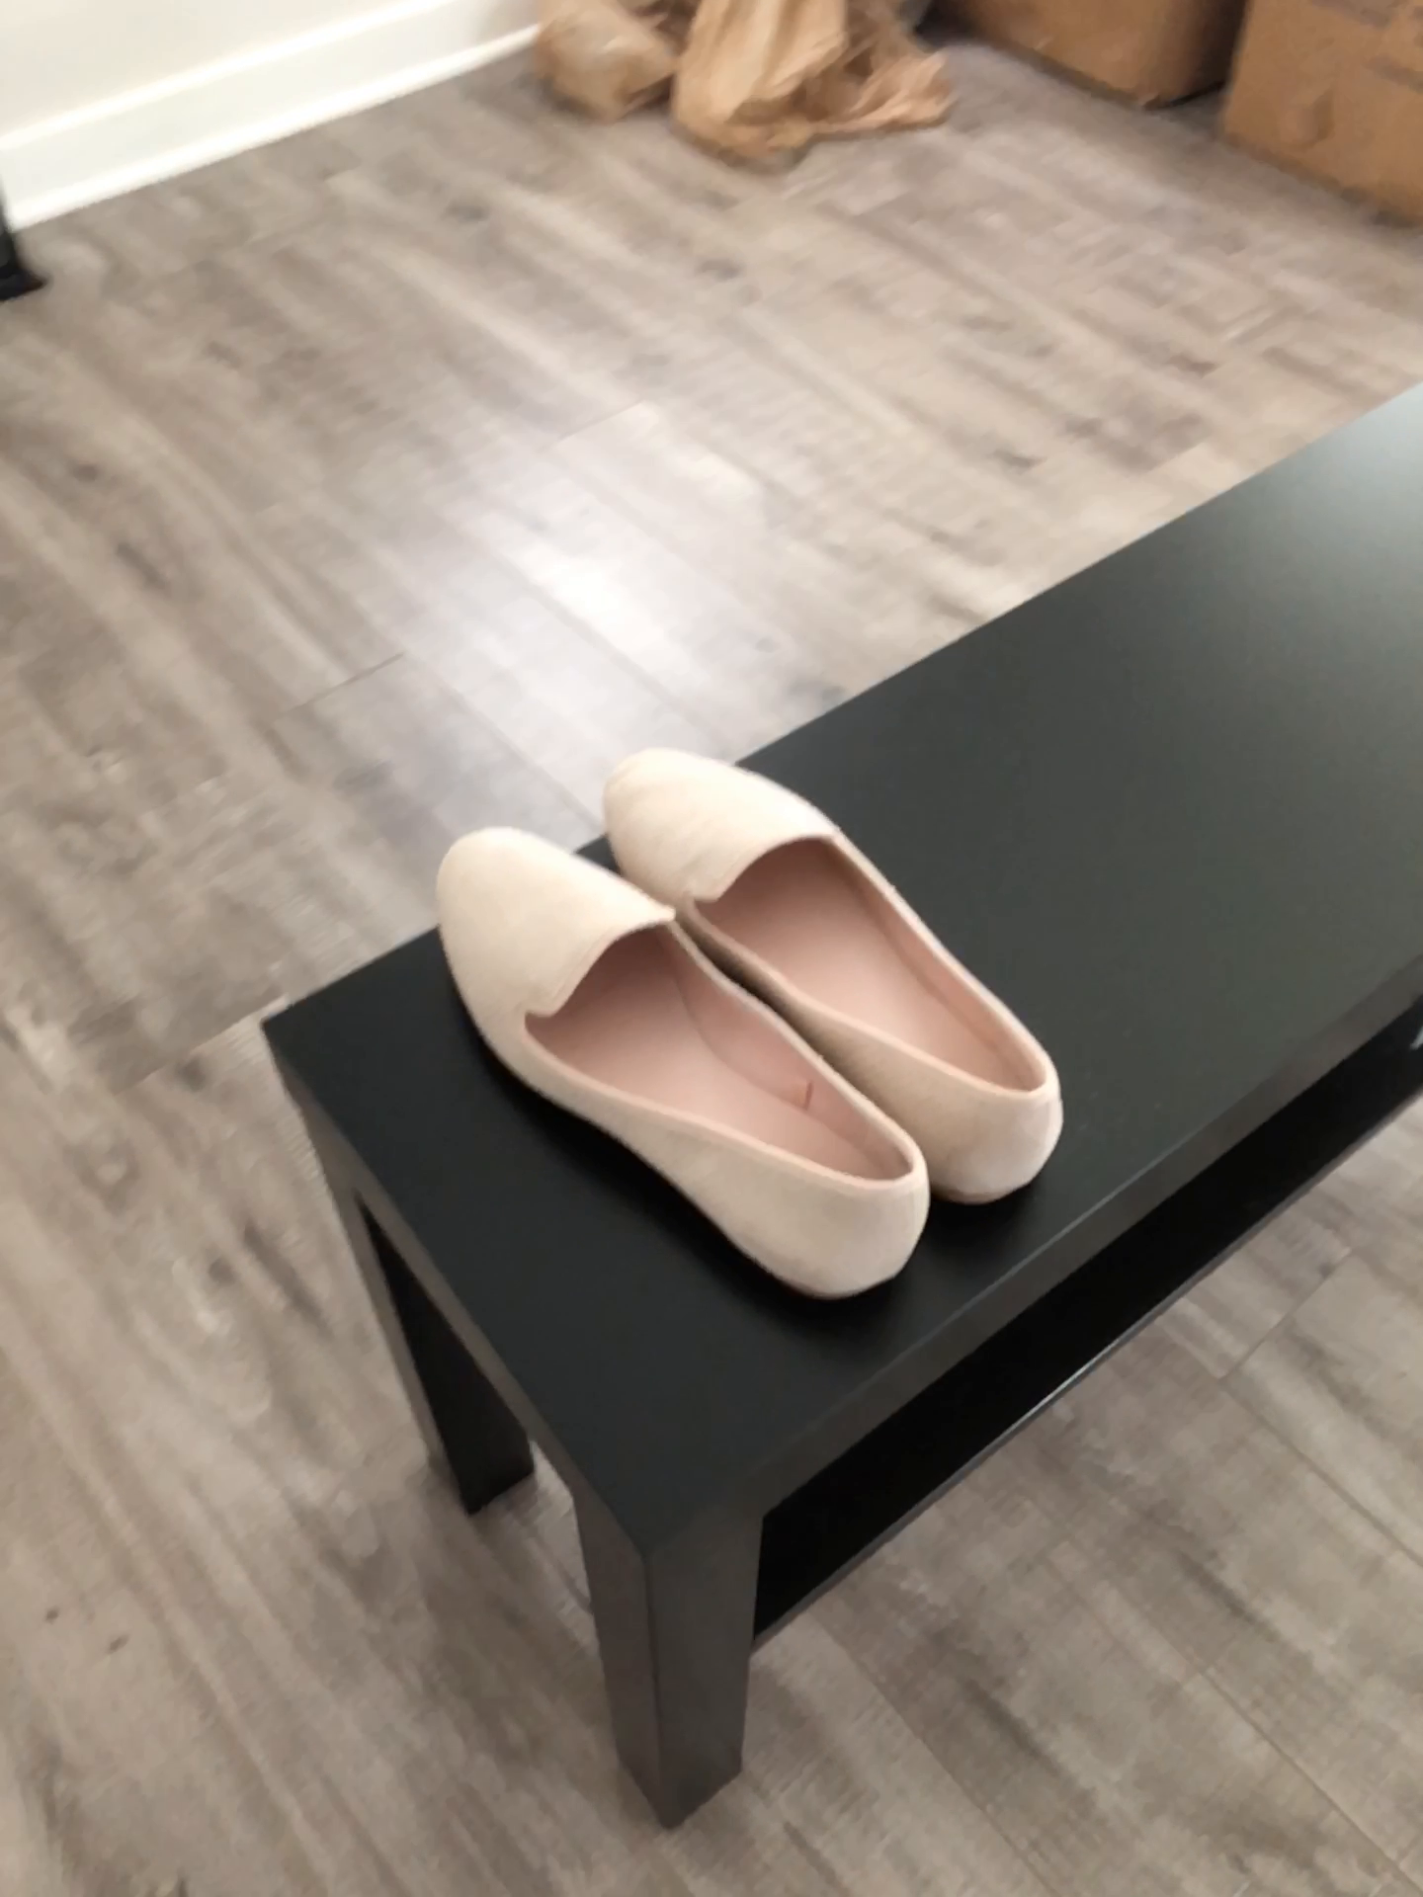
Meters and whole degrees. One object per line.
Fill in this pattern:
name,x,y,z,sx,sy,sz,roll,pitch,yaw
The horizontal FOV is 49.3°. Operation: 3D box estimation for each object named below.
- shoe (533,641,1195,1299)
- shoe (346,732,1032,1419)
shoe,0.045,-0.004,0.585,0.090,0.070,0.260,-31,57,-22
shoe,-0.017,0.034,0.550,0.080,0.070,0.260,-35,59,-25
